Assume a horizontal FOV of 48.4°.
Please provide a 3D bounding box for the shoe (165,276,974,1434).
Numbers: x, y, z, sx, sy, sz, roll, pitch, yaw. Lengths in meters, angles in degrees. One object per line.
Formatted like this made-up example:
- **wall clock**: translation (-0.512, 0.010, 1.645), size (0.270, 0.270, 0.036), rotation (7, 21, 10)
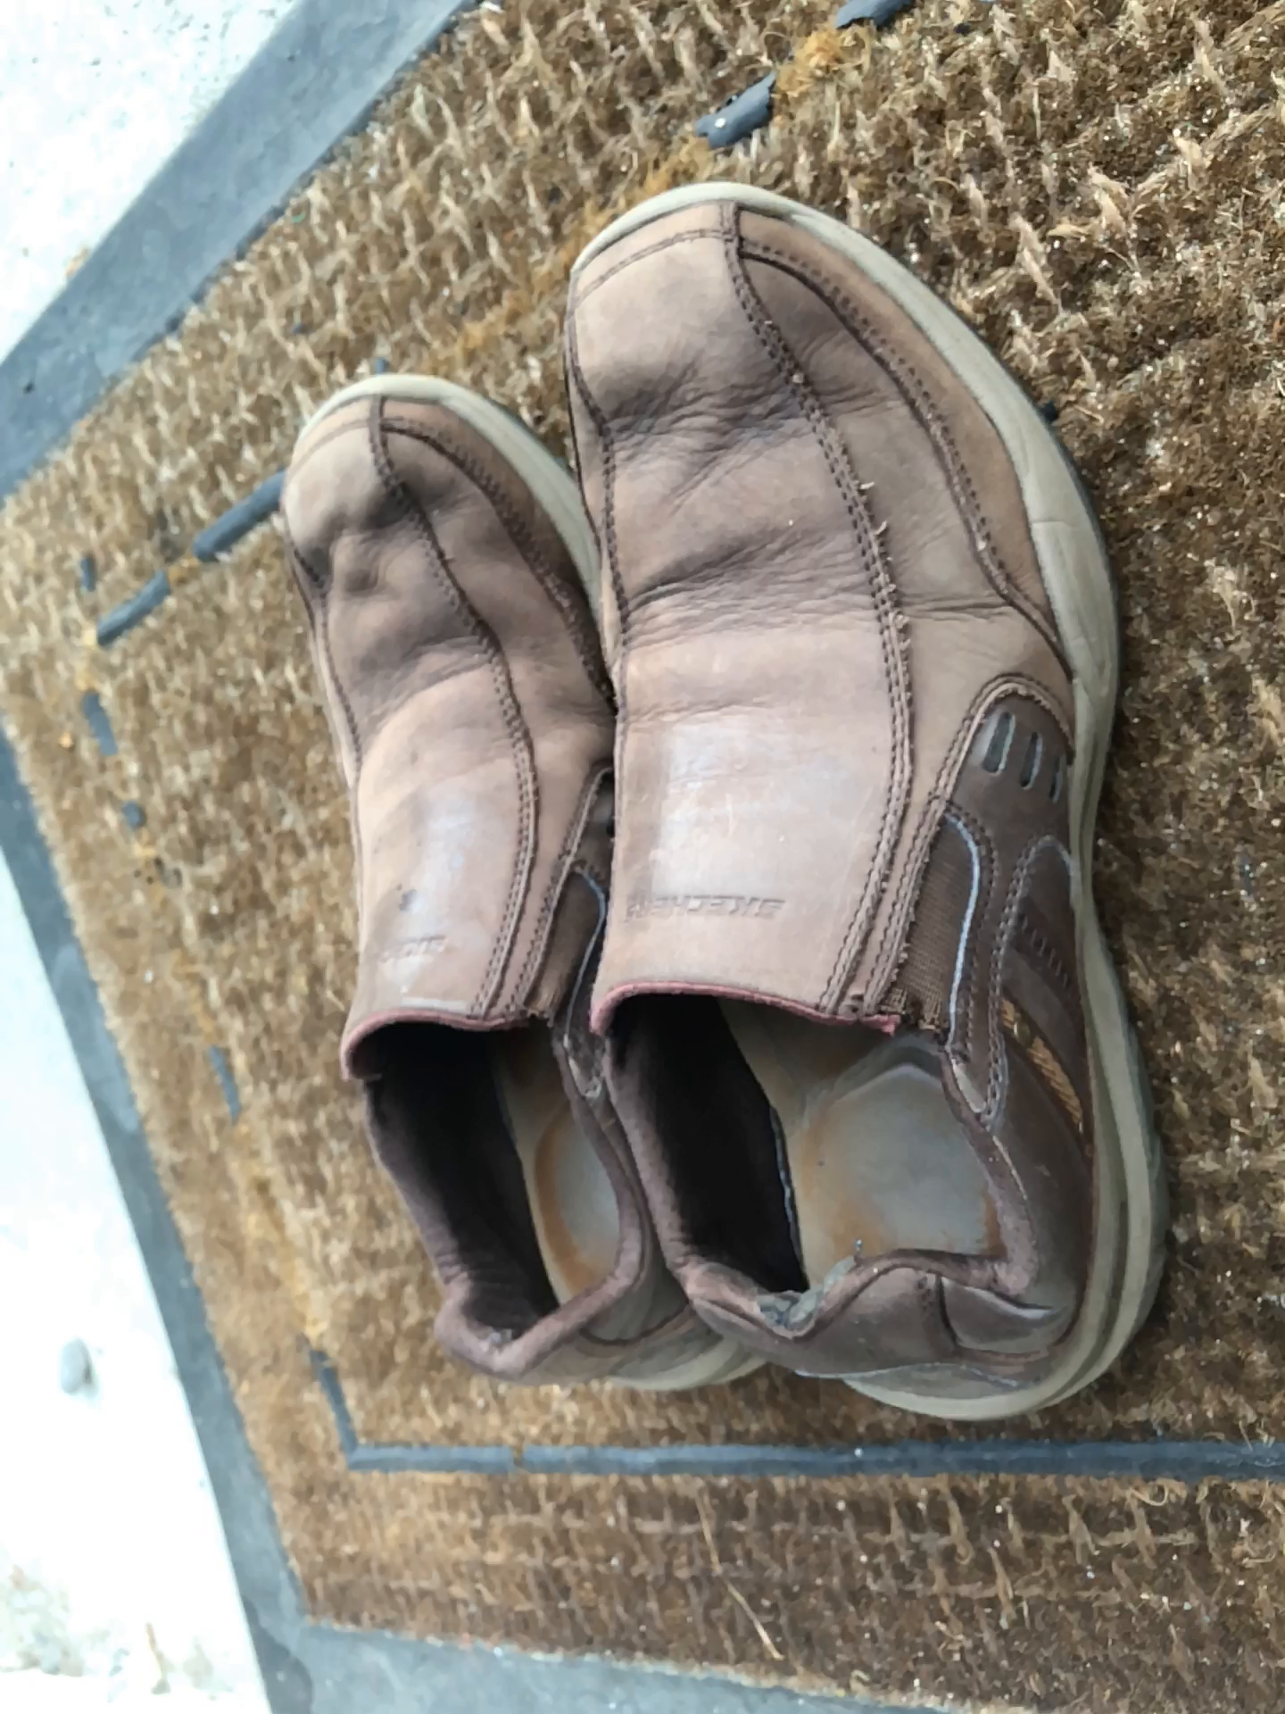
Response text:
- **shoe**: translation (-0.017, 0.001, 0.384), size (0.101, 0.099, 0.267), rotation (-17, 92, 40)

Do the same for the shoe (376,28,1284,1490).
- **shoe**: translation (0.047, -0.015, 0.311), size (0.101, 0.099, 0.254), rotation (-13, 95, 40)
